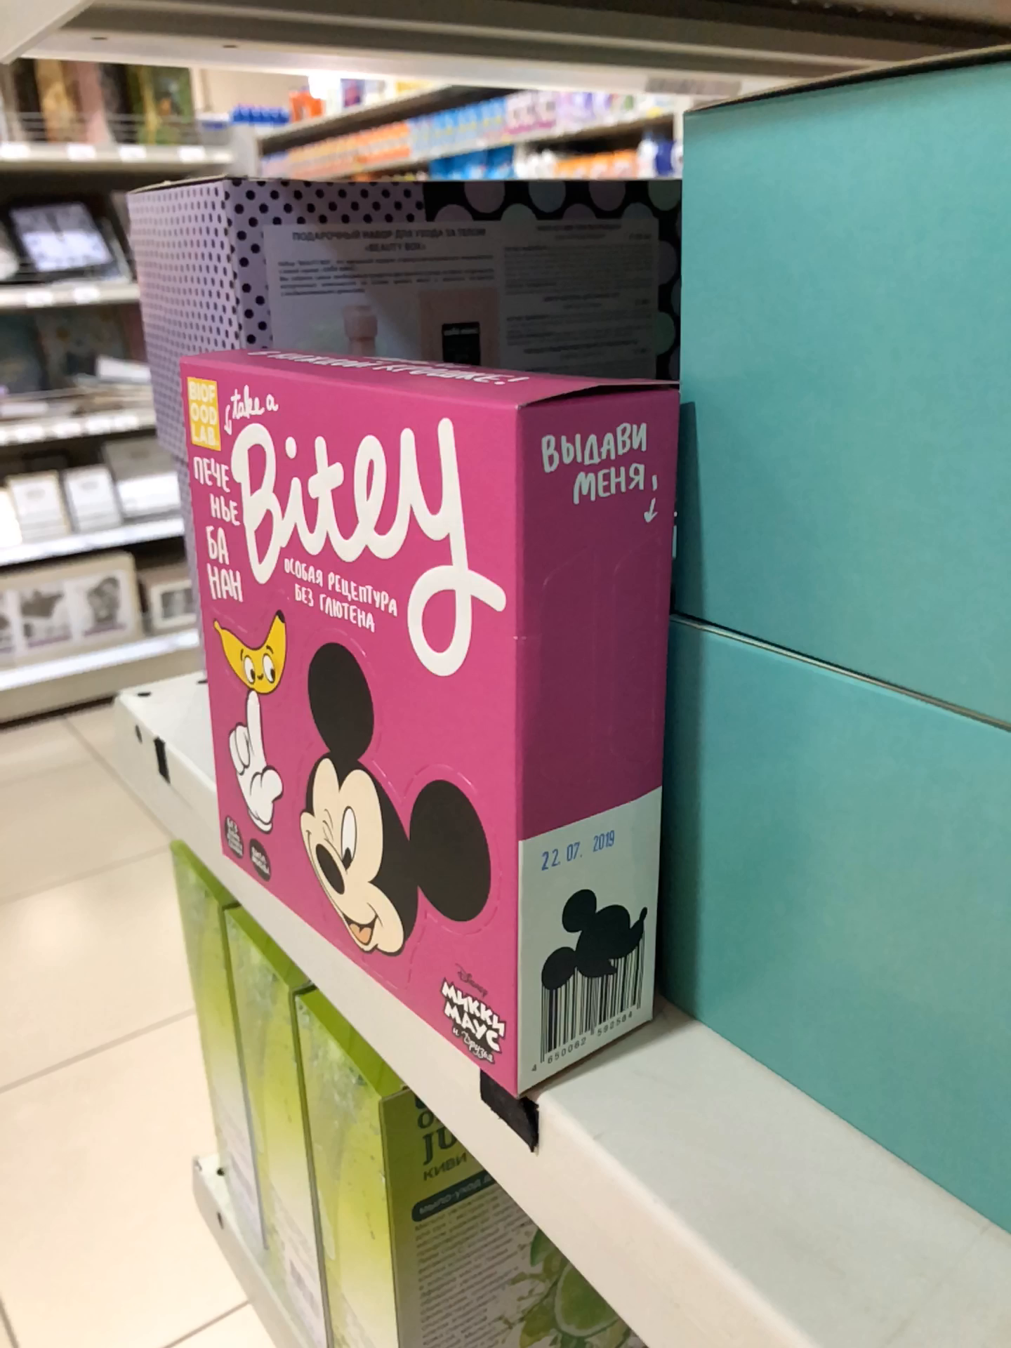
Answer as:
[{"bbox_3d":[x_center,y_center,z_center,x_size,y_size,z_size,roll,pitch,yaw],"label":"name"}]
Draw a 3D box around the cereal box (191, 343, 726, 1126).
[{"bbox_3d":[-0.019,0.002,0.272,0.040,0.149,0.140,-16,25,-38],"label":"cereal box"}]
